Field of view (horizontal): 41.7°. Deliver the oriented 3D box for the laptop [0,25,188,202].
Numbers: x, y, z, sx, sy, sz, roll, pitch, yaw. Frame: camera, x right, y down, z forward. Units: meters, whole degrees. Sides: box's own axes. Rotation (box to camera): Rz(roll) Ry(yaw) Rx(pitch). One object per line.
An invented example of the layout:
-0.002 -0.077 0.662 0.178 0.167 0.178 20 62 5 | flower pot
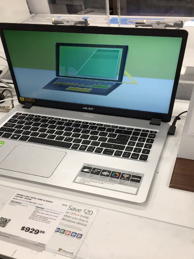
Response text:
-0.068 -0.055 0.526 0.410 0.221 0.279 9 47 17 | laptop
